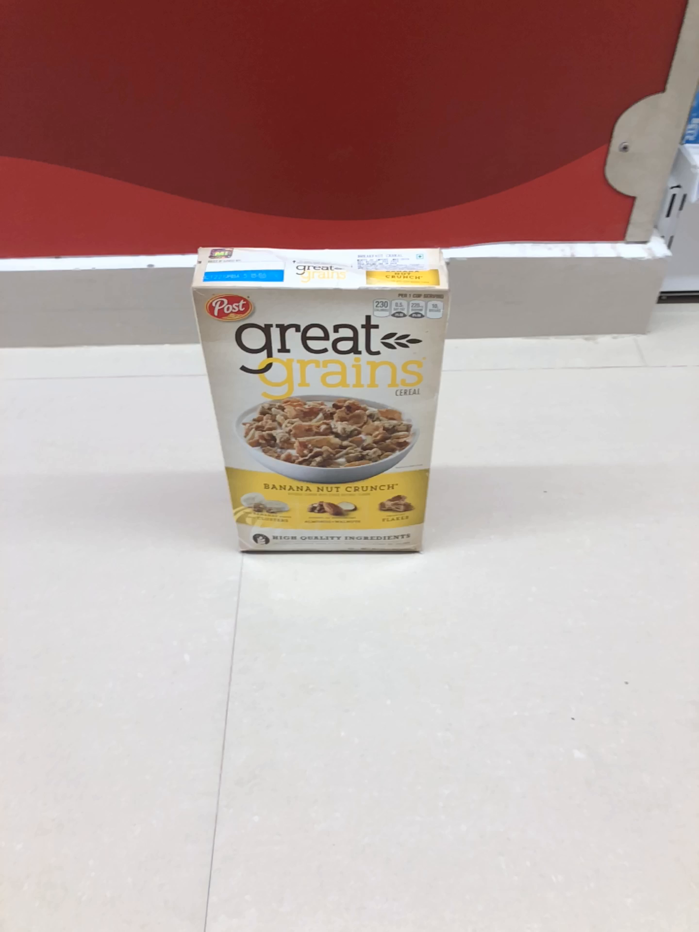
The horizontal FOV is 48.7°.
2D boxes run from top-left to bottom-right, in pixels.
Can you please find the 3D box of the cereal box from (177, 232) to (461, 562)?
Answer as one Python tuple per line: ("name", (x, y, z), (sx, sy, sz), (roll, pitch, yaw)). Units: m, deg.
("cereal box", (-0.018, -0.034, 0.550), (0.160, 0.258, 0.060), (0, 47, -1))
